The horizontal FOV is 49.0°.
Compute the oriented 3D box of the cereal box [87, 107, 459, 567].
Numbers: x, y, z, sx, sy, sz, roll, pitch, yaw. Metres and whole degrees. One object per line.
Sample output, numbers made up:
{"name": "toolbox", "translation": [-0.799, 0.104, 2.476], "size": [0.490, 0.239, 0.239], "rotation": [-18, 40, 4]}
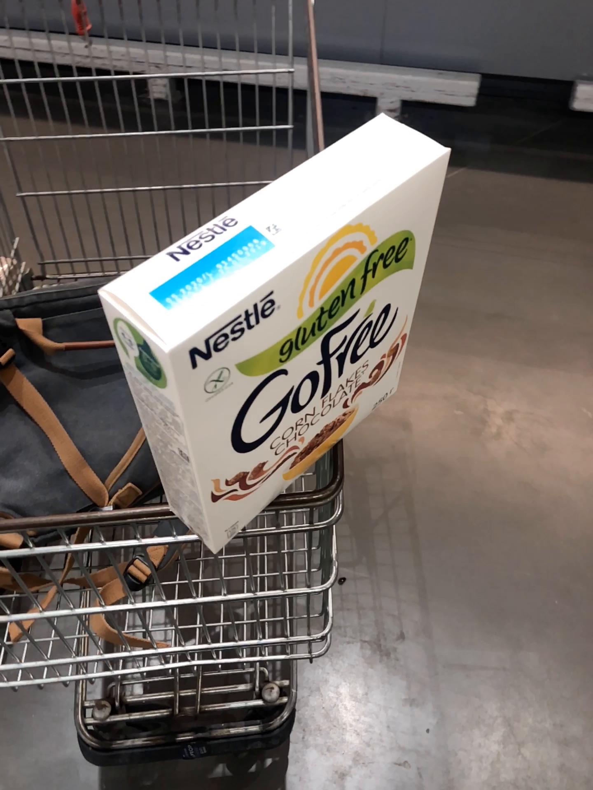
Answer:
{"name": "cereal box", "translation": [-0.002, -0.022, 0.404], "size": [0.050, 0.229, 0.201], "rotation": [38, 62, 24]}
